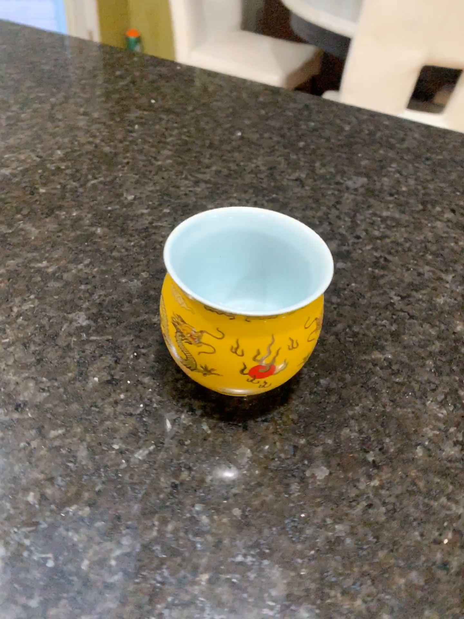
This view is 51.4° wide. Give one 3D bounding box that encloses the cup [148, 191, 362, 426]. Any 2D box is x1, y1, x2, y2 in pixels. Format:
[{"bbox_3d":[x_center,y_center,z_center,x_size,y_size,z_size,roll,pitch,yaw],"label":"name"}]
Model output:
[{"bbox_3d":[0.002,-0.002,0.210,0.072,0.066,0.076,3,44,-3],"label":"cup"}]
